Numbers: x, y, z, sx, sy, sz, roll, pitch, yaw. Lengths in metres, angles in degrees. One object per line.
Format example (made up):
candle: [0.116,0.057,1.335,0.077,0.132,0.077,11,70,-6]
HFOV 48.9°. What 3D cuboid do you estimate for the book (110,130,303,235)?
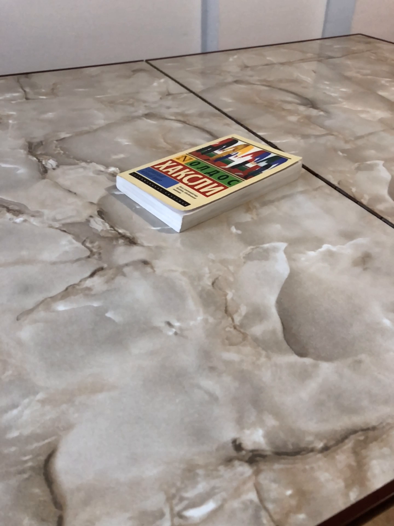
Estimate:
book: [0.013,-0.101,0.493,0.184,0.020,0.120,-28,46,-31]
